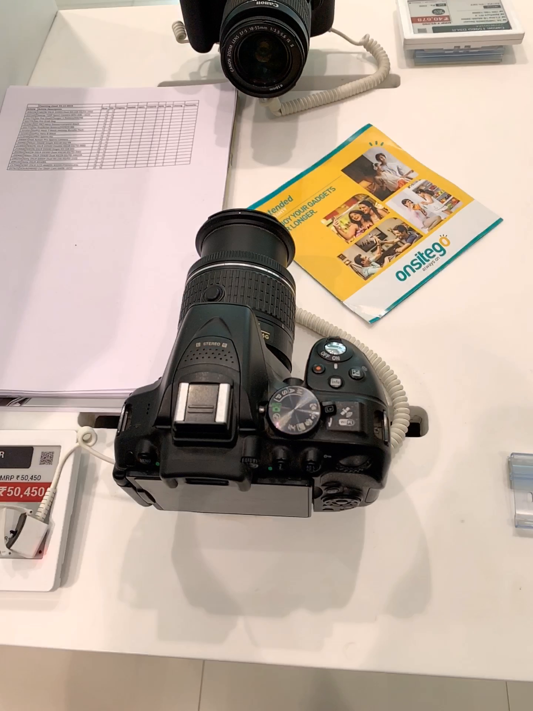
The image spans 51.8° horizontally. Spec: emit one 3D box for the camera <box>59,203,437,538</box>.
[{"bbox_3d":[0.000,0.010,0.238,0.118,0.100,0.107,1,61,6],"label":"camera"}]
